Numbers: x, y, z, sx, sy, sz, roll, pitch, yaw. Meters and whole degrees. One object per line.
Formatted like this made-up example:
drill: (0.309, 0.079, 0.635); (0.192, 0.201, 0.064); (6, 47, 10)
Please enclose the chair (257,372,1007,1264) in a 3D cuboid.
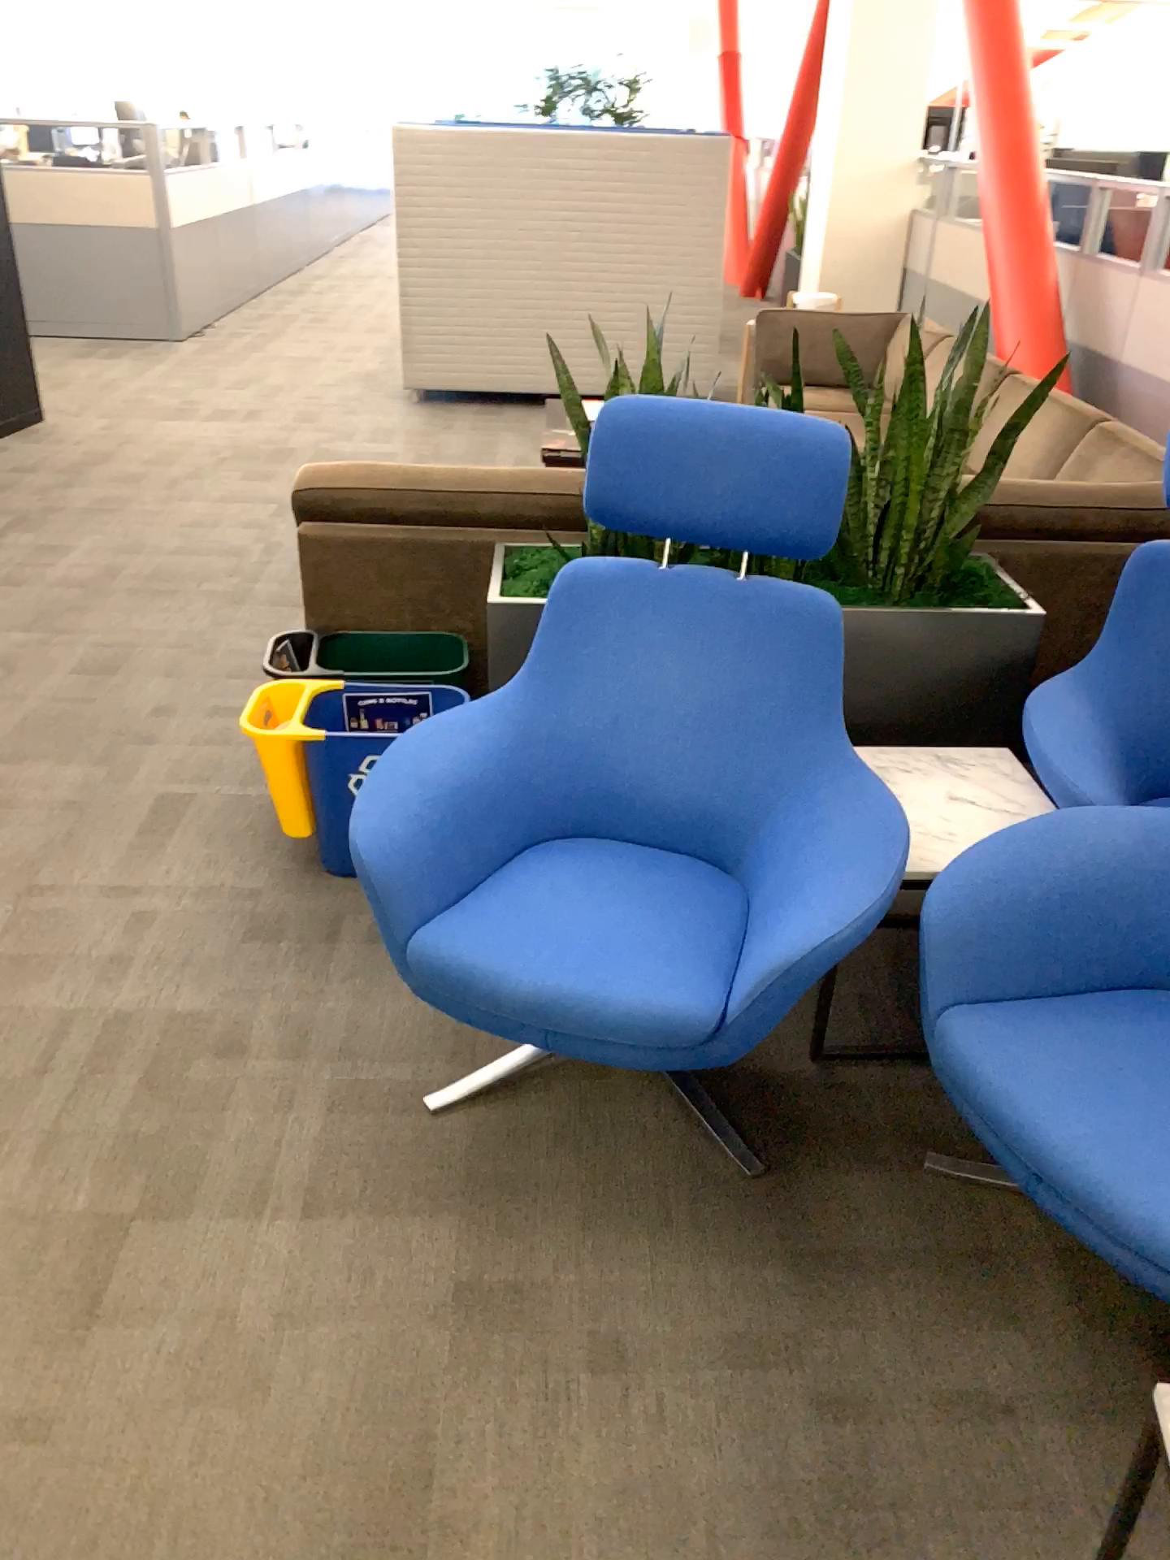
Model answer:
chair: (0.093, 0.013, 1.985); (0.921, 1.143, 0.663); (12, 30, 17)
